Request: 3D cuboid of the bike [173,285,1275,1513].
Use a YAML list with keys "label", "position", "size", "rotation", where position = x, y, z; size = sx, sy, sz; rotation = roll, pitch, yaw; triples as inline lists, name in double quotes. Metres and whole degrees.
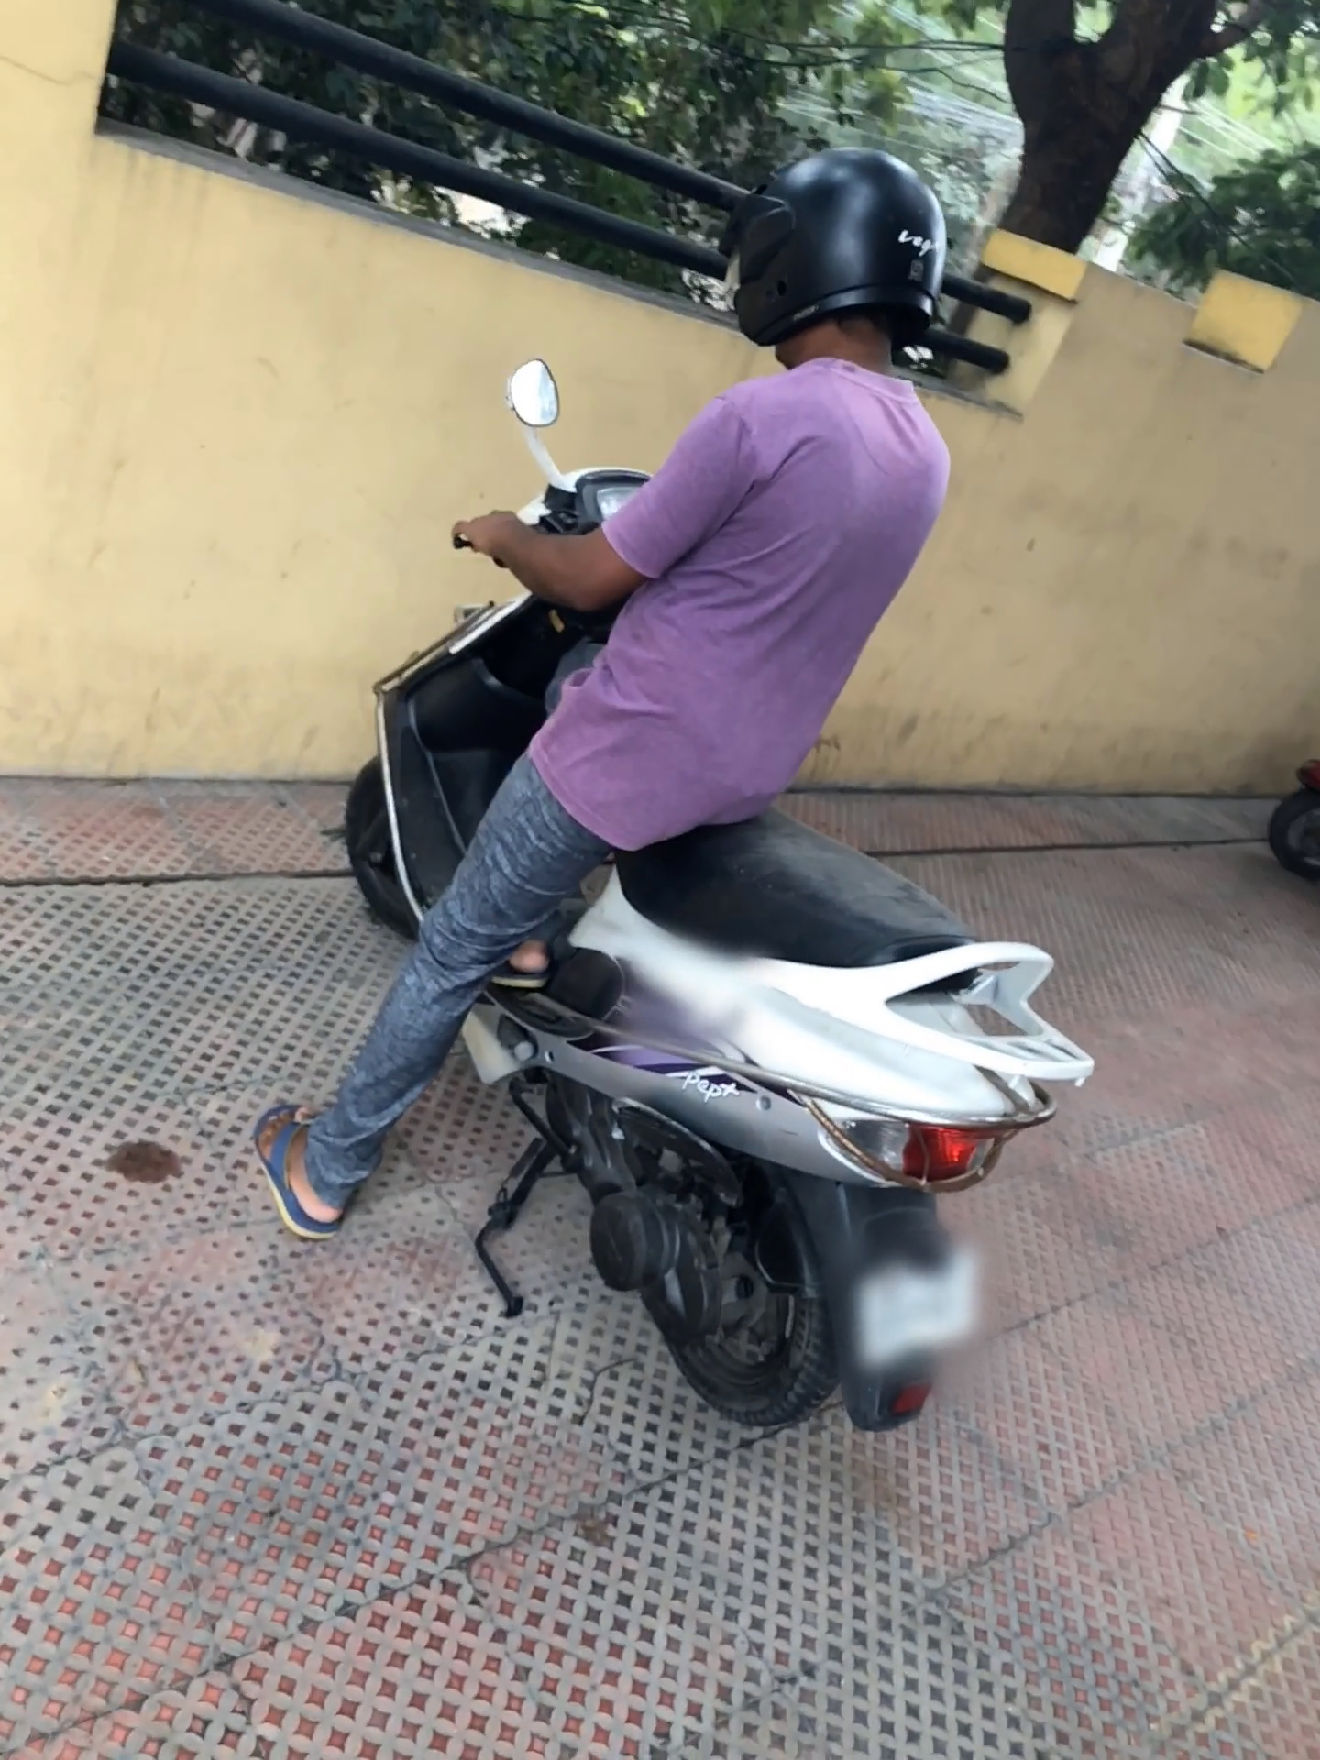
- label: "bike"
  position: [-0.070, -0.071, 2.224]
  size: [0.645, 0.949, 1.504]
  rotation: [-1, 37, -41]
